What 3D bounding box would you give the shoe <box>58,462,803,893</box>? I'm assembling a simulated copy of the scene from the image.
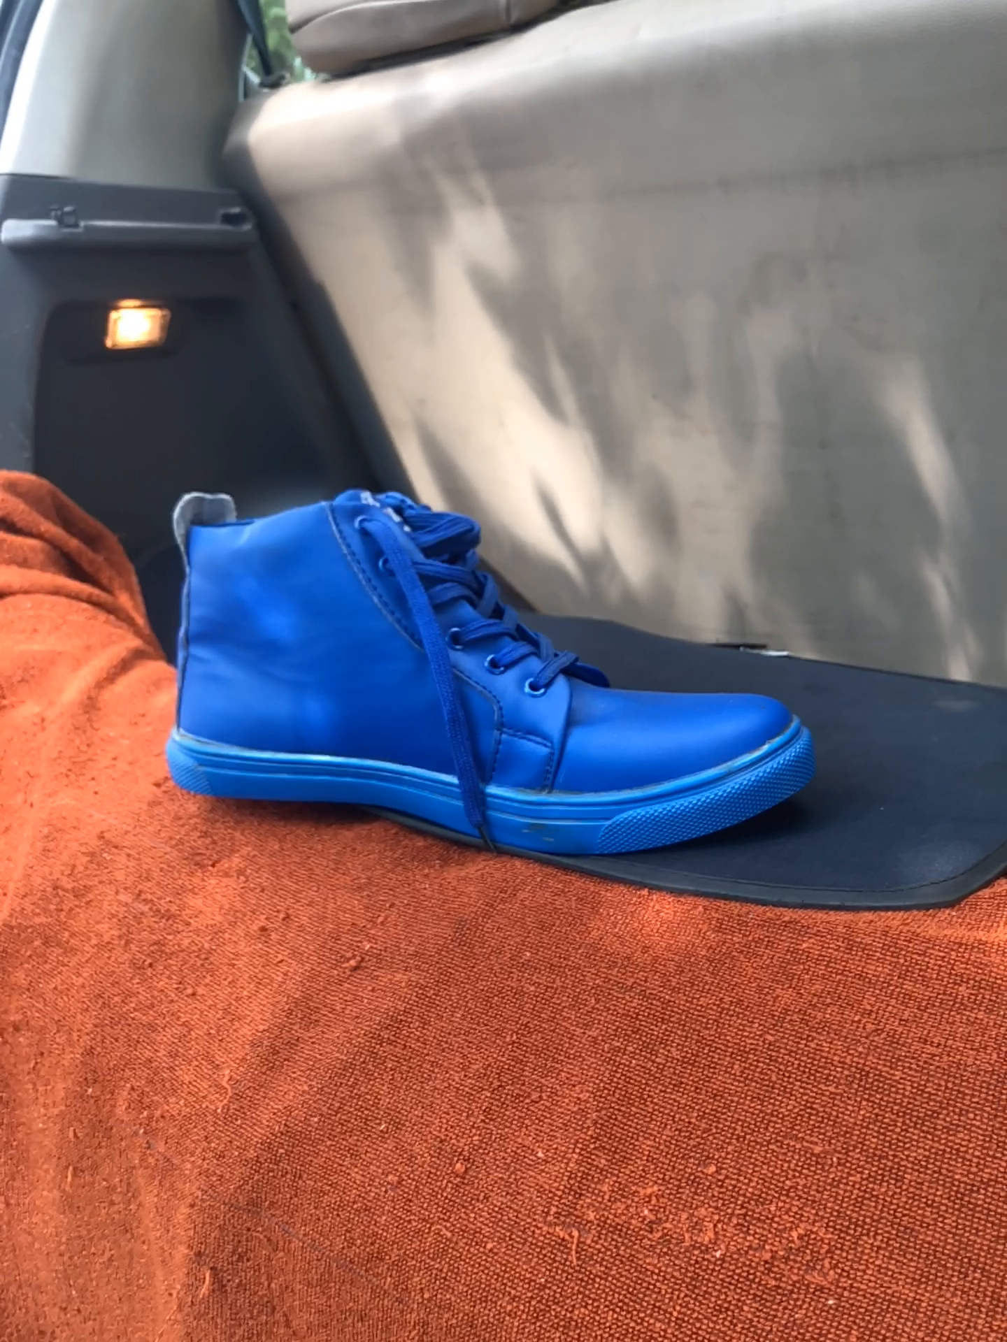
[{"bbox_3d":[-0.029,-0.011,0.480,0.290,0.139,0.100,4,20,21],"label":"shoe"}]
